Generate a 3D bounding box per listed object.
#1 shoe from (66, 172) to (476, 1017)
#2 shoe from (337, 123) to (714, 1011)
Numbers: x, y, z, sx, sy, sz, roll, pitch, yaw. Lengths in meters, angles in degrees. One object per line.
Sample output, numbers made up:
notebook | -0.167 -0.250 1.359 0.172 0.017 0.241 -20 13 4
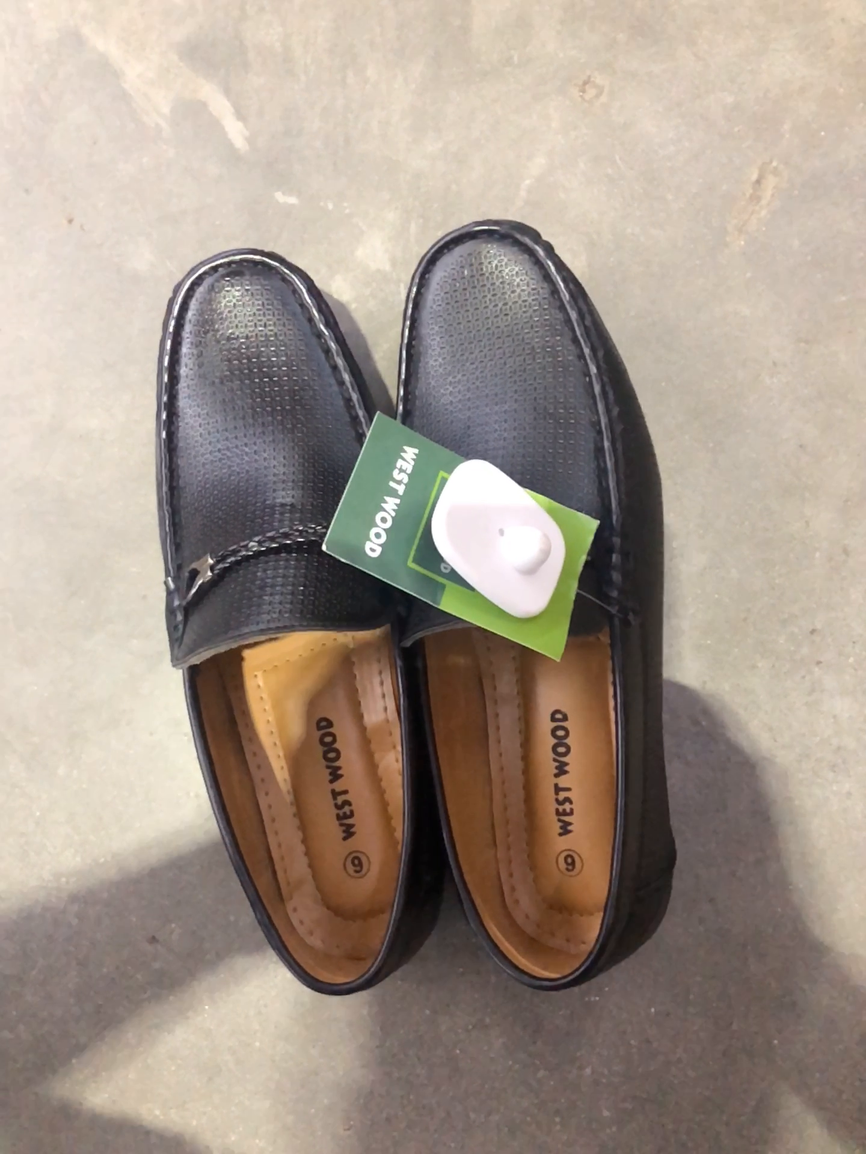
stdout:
shoe | -0.058 0.005 0.366 0.100 0.070 0.280 -10 85 4
shoe | 0.035 -0.001 0.346 0.090 0.070 0.280 -8 85 16
